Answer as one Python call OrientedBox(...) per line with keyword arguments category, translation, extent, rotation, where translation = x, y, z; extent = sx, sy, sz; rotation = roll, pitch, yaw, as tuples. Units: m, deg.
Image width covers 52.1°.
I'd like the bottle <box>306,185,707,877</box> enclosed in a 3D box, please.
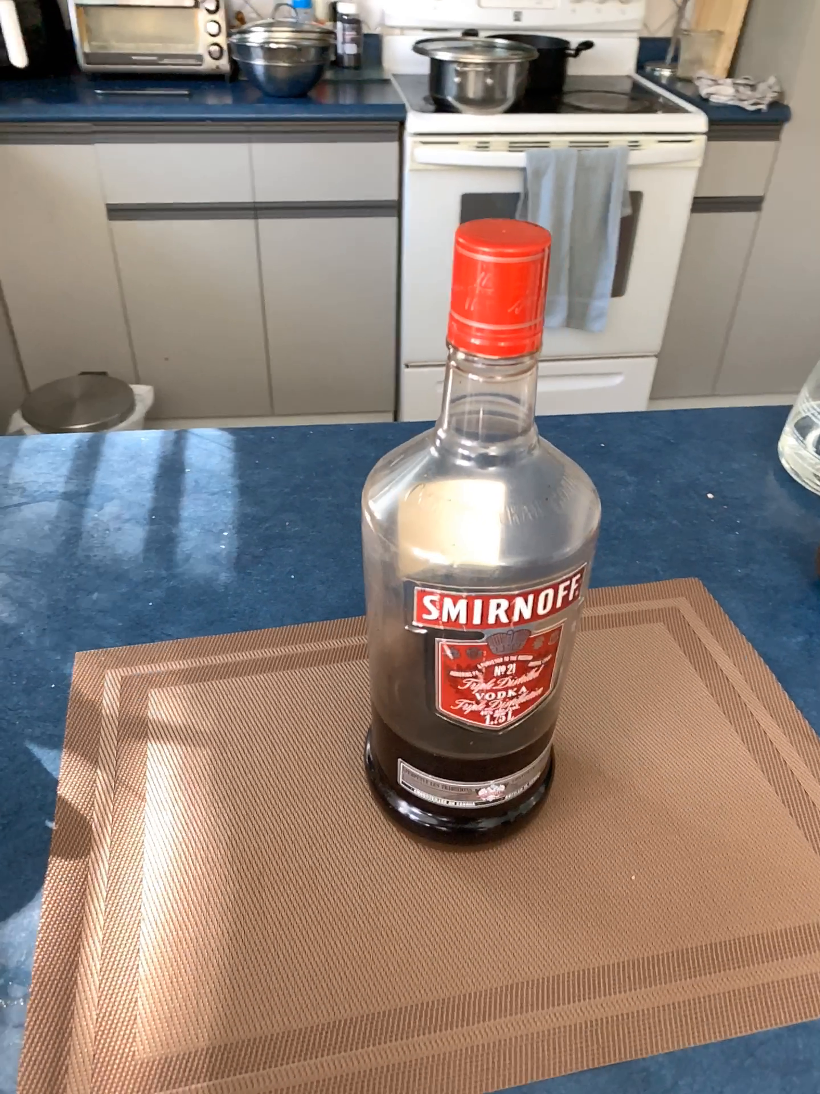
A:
OrientedBox(category="bottle", translation=(0.024, 0.009, 0.406), extent=(0.120, 0.317, 0.111), rotation=(1, 37, -1))
